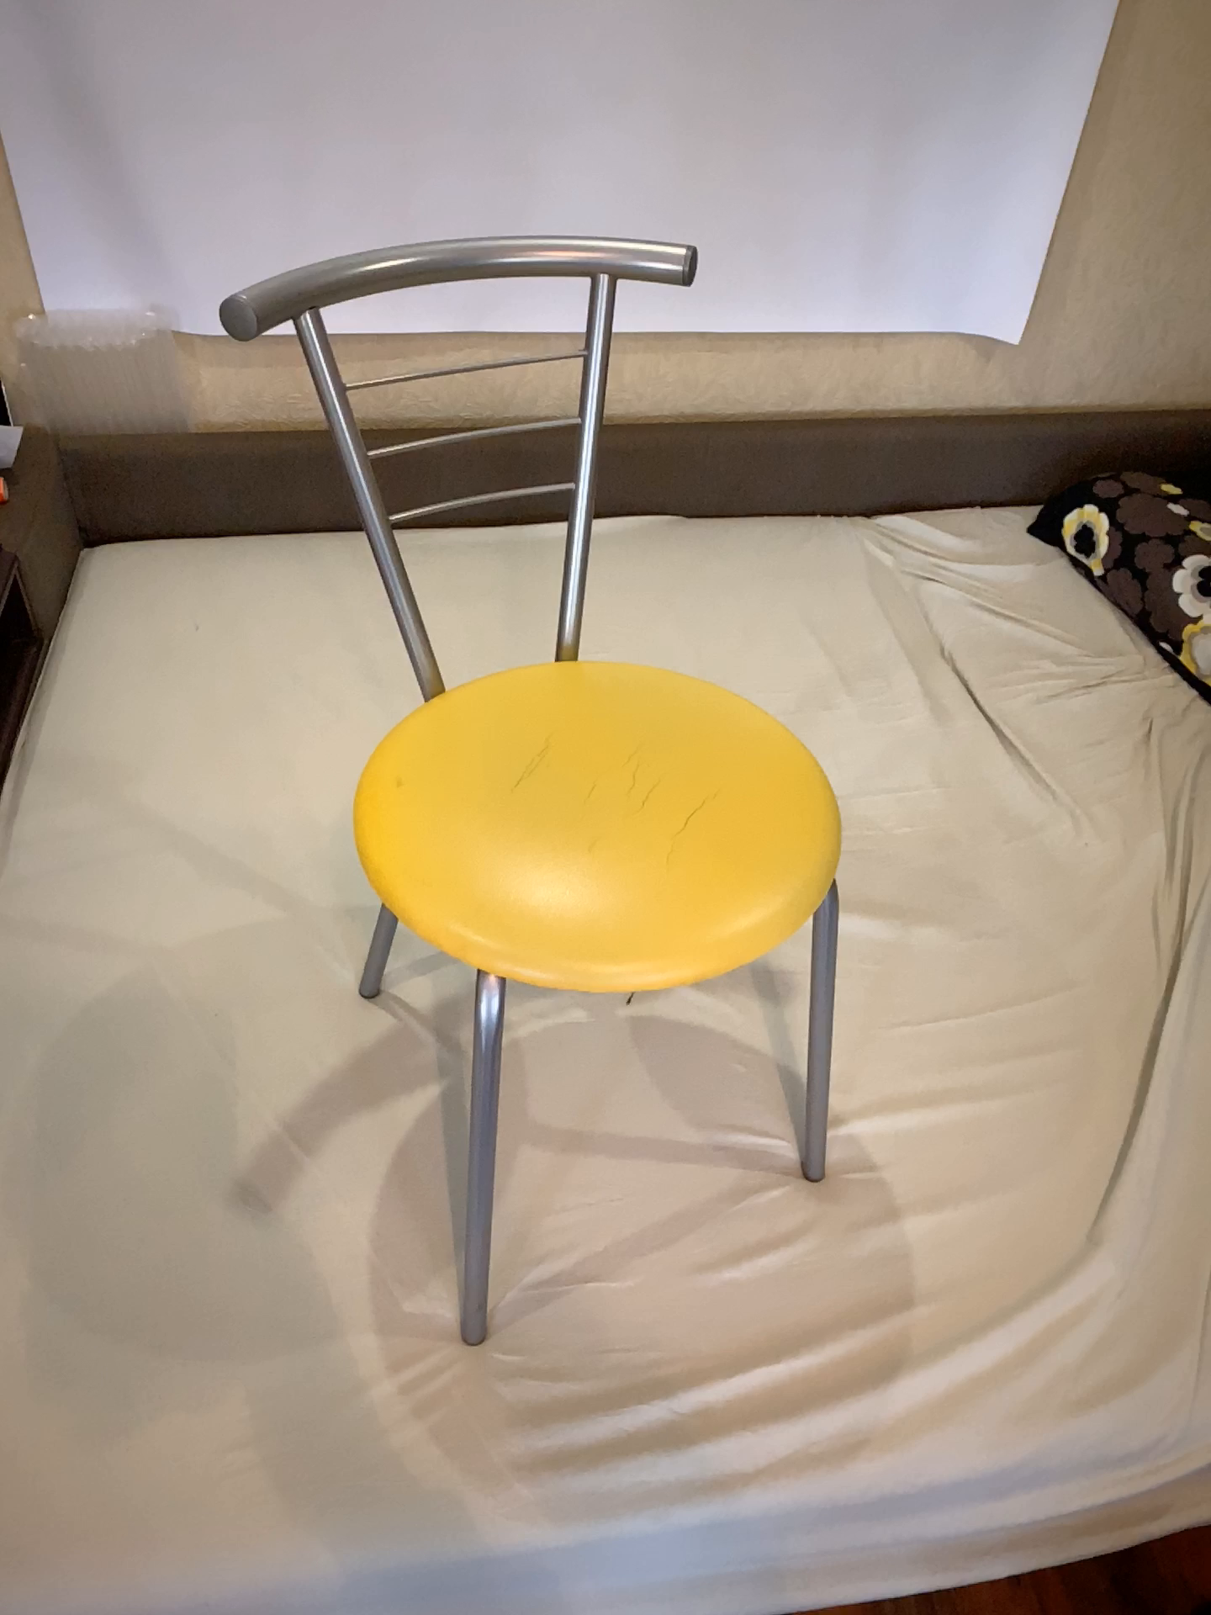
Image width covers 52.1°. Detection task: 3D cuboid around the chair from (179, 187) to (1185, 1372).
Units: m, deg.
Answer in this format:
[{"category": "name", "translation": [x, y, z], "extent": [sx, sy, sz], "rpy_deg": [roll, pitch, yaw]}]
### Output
[{"category": "chair", "translation": [-0.002, -0.021, 1.049], "extent": [0.461, 0.763, 0.503], "rpy_deg": [-17, 46, -21]}]
